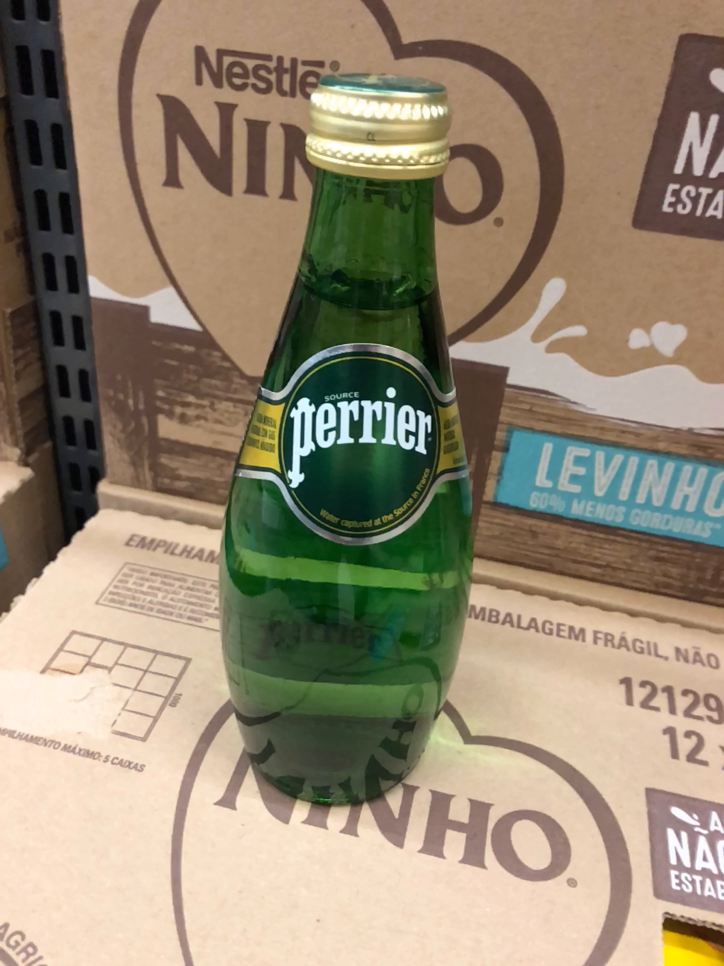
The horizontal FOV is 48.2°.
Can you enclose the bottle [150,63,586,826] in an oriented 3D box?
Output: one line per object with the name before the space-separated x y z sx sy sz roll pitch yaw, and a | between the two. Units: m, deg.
bottle | -0.008 0.001 0.202 0.070 0.179 0.060 0 33 -8
